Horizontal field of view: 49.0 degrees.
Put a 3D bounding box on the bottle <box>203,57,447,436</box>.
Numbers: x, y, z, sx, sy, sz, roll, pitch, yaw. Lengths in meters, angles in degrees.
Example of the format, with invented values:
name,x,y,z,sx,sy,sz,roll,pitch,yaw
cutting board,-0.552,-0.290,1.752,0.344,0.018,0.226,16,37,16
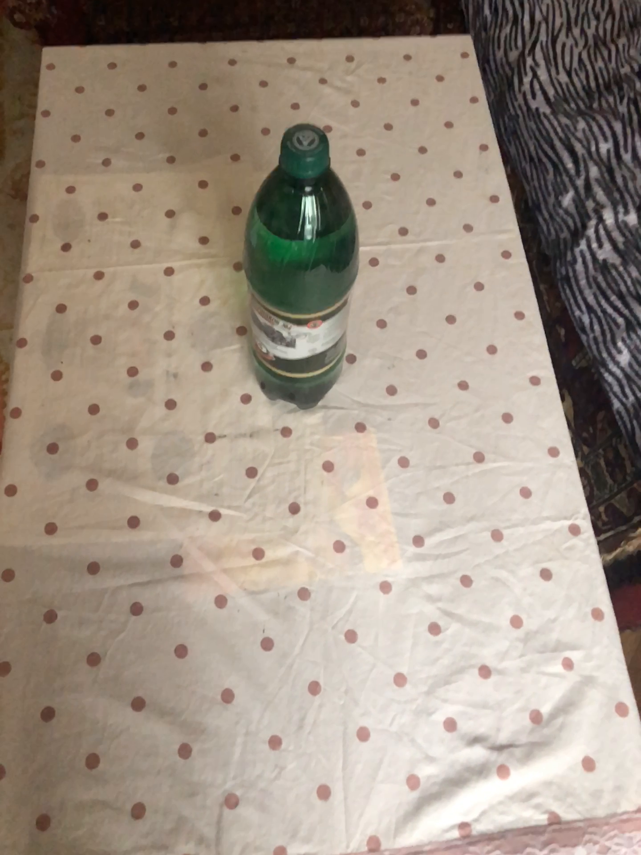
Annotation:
name,x,y,z,sx,sy,sz,roll,pitch,yaw
bottle,-0.006,-0.110,0.534,0.100,0.279,0.100,1,68,-3
